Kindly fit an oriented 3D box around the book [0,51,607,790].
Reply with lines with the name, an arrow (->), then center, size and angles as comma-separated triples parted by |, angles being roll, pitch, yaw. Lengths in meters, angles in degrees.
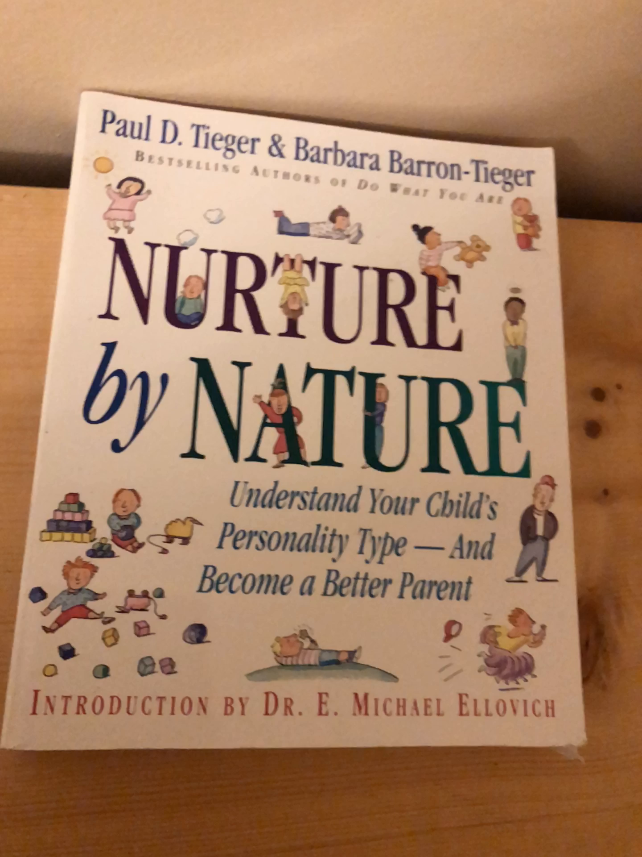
book -> -0.005, -0.007, 0.269 | 0.200, 0.040, 0.250 | 4, 75, -10
